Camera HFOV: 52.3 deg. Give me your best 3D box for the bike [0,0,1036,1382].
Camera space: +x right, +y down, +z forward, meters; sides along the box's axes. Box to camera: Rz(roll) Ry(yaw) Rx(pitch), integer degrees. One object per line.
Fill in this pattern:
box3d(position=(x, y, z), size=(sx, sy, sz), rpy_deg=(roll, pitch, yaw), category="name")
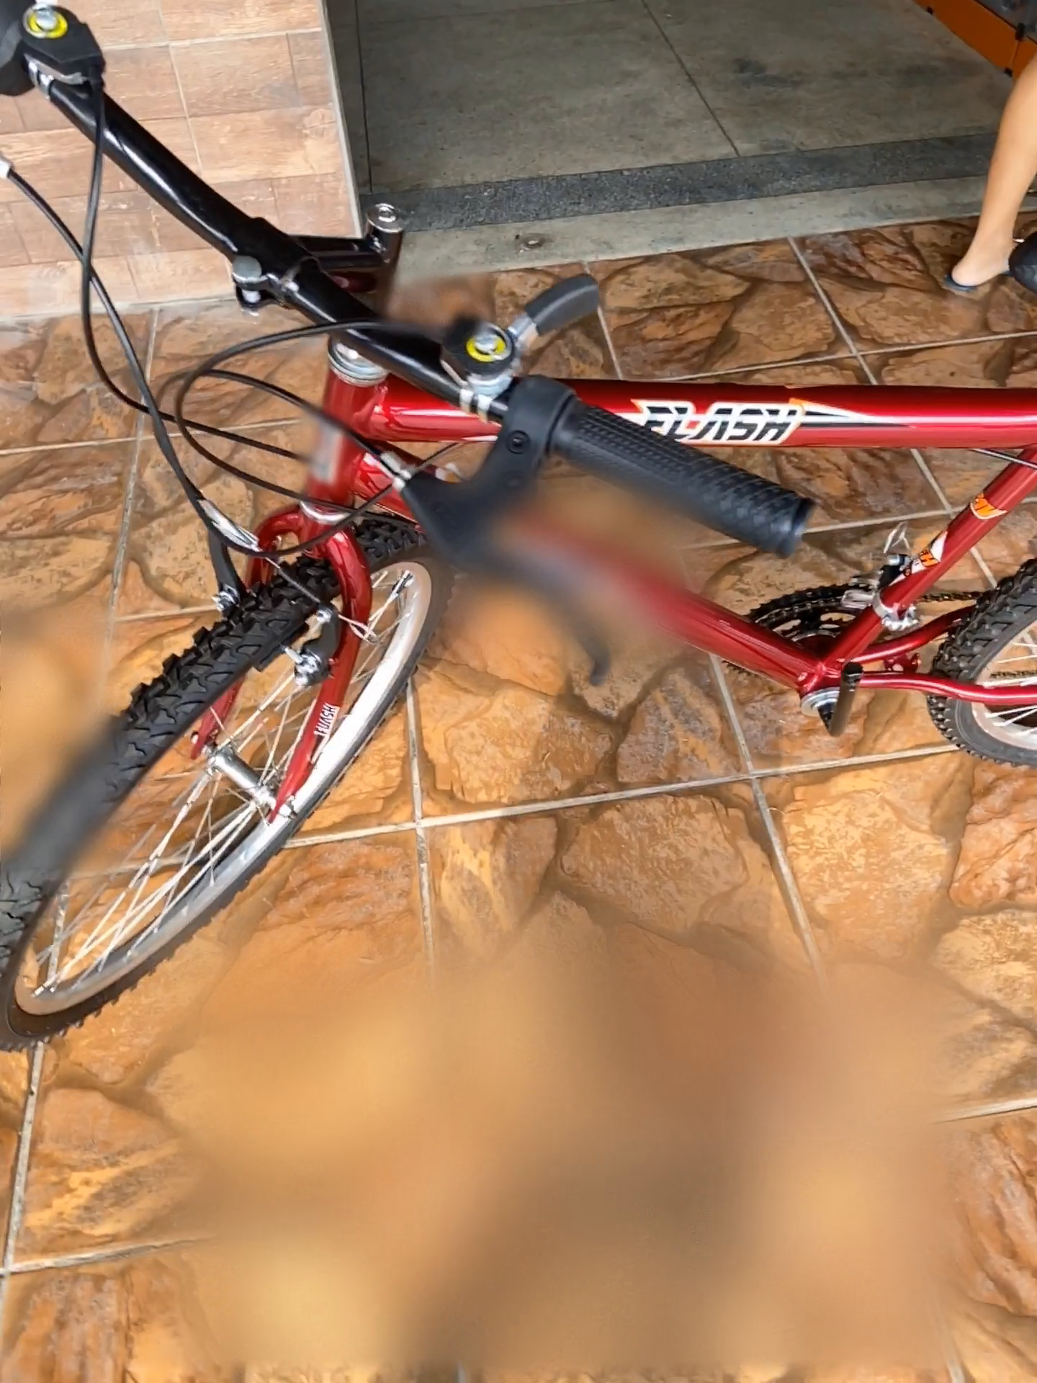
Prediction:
box3d(position=(0.271, 0.025, 0.847), size=(1.556, 0.986, 0.602), rpy_deg=(-14, 49, -5), category="bike")
